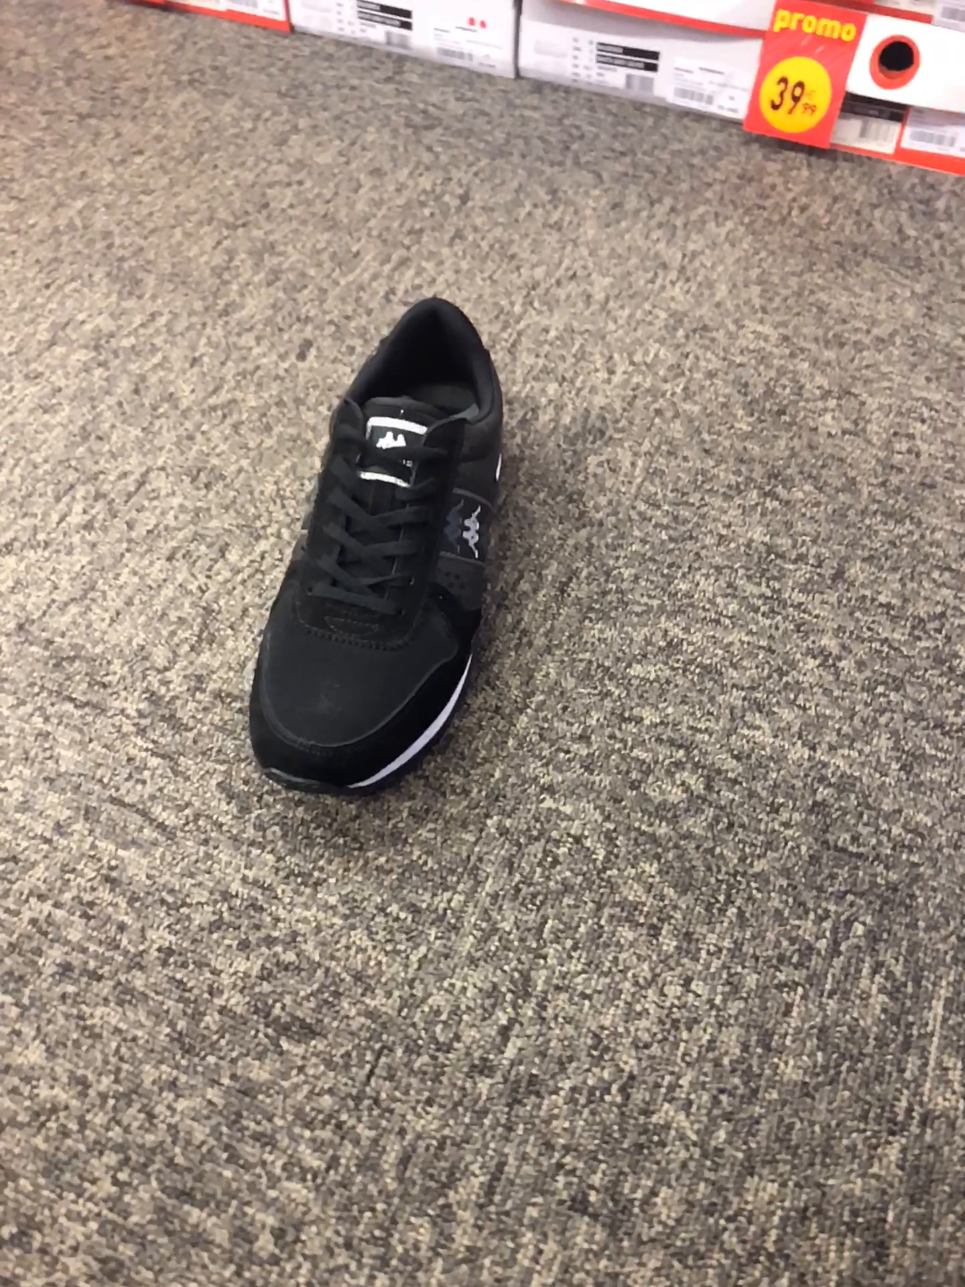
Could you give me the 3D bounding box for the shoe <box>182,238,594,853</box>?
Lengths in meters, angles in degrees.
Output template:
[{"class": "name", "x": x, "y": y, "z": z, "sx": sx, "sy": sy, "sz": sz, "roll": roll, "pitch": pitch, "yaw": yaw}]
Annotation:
[{"class": "shoe", "x": -0.027, "y": -0.058, "z": 0.494, "sx": 0.100, "sy": 0.090, "sz": 0.275, "roll": 12, "pitch": 58, "yaw": 9}]
